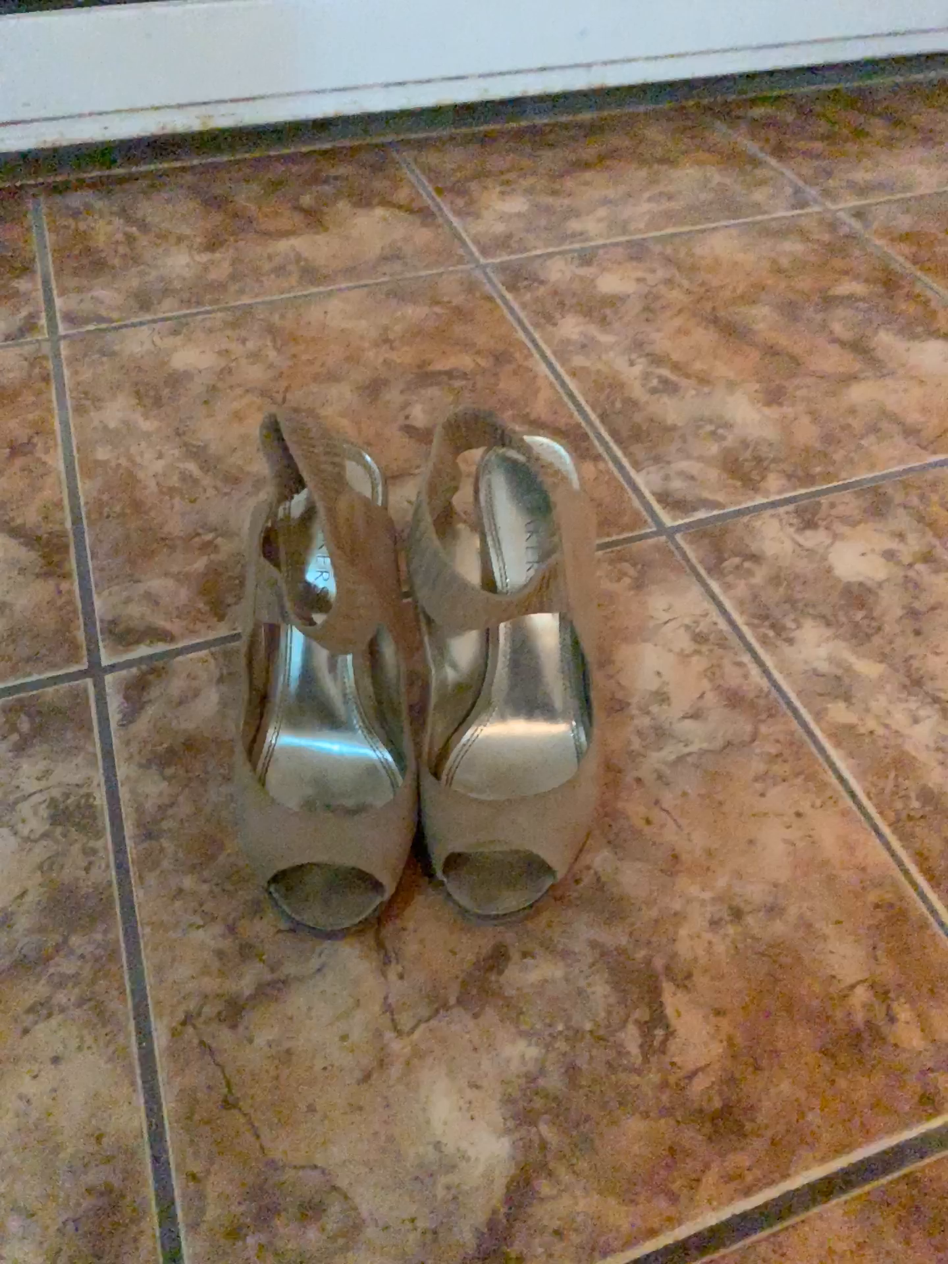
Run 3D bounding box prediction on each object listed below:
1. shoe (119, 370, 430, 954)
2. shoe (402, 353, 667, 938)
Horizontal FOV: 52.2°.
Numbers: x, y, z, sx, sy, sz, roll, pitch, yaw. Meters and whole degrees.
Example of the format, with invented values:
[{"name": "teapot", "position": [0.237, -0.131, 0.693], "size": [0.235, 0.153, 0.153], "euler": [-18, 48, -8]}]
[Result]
[{"name": "shoe", "position": [-0.066, 0.007, 0.418], "size": [0.081, 0.140, 0.210], "euler": [1, 47, 0]}, {"name": "shoe", "position": [0.020, 0.001, 0.421], "size": [0.081, 0.150, 0.205], "euler": [1, 47, 0]}]
